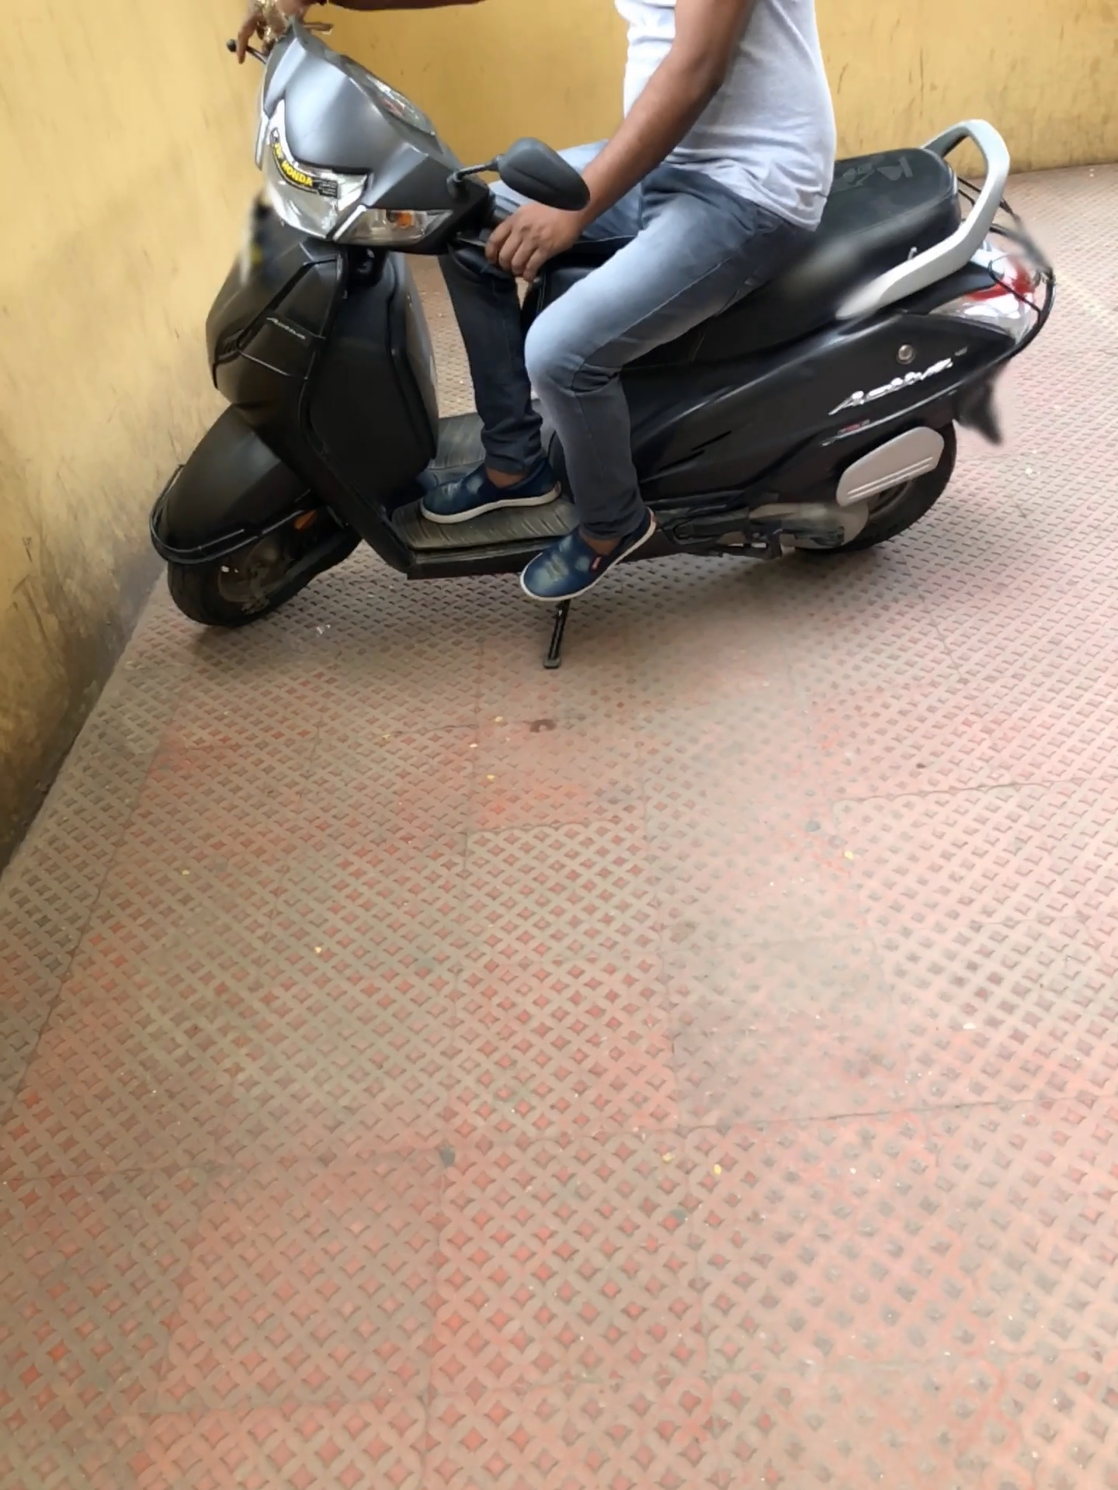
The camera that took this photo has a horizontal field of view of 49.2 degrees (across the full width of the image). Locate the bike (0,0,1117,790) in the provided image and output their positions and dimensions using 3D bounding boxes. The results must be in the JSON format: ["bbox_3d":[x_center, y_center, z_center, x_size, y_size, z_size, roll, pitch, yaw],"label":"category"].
[{"bbox_3d":[-0.014,-0.676,2.116,1.546,1.016,0.697,-10,37,-1],"label":"bike"}]
